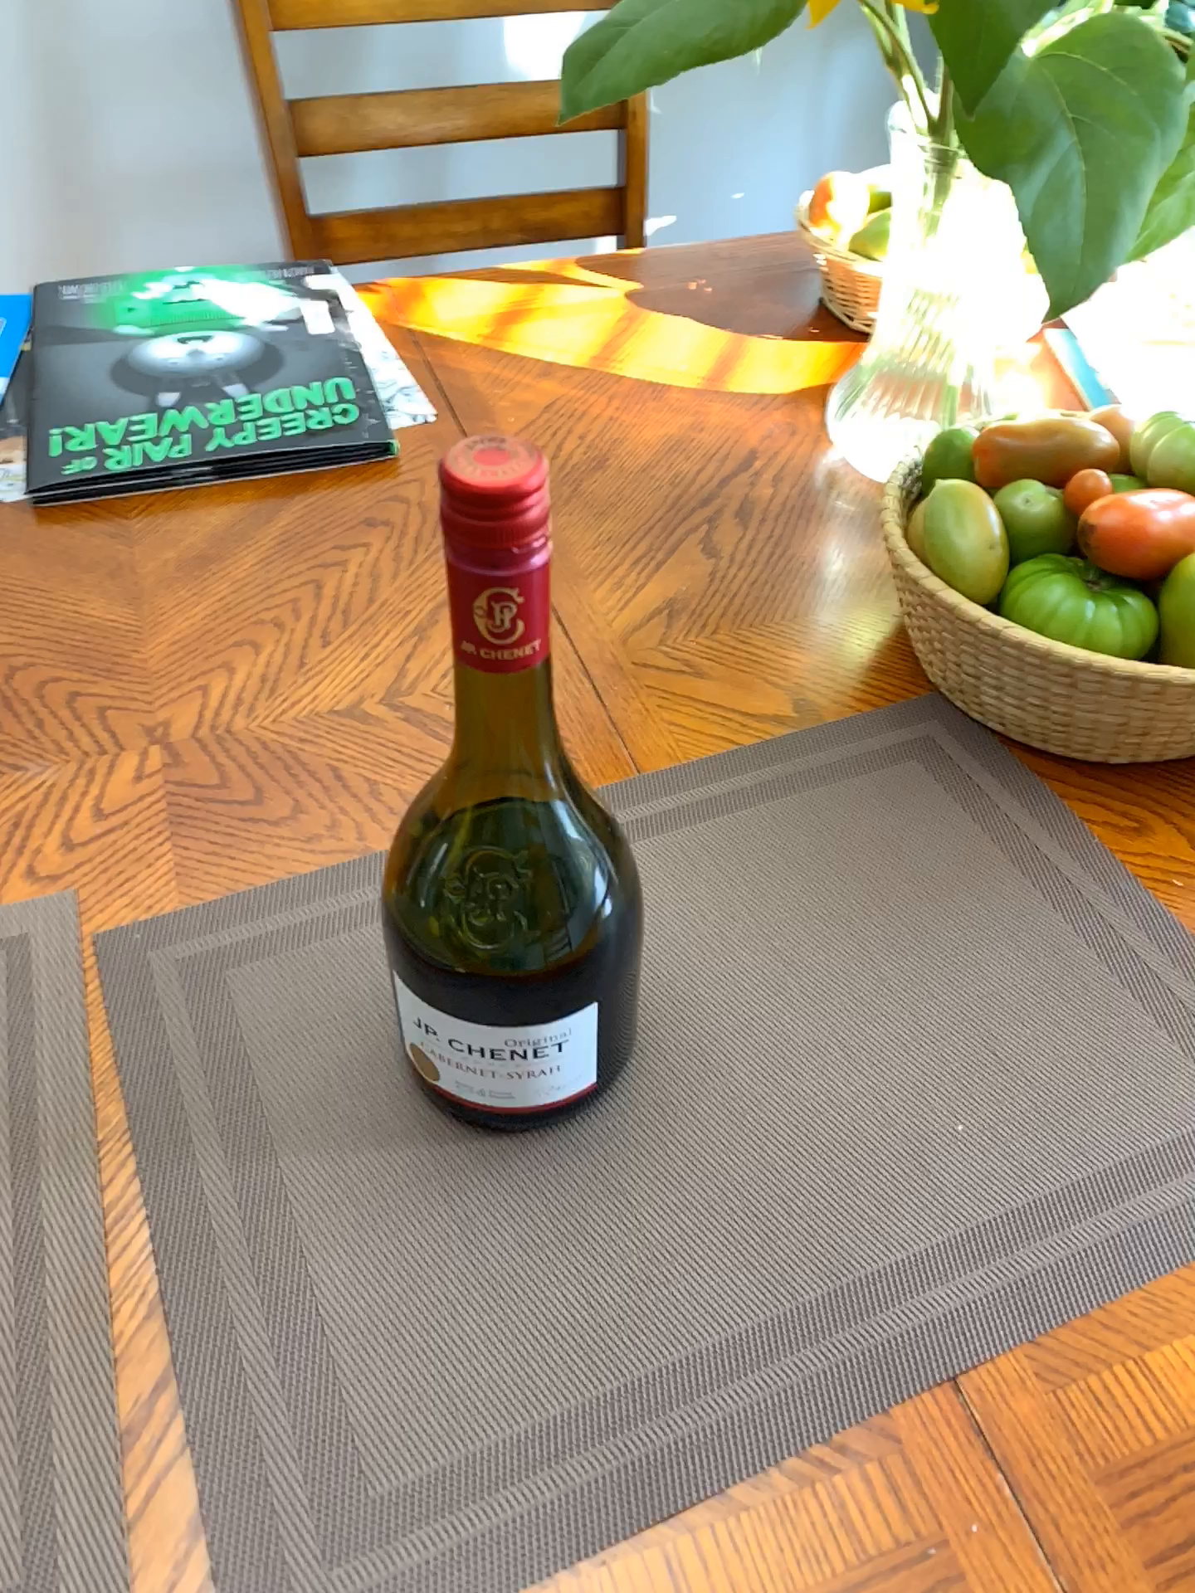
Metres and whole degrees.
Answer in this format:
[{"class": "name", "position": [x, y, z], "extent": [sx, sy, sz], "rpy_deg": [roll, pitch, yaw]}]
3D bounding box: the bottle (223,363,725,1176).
[{"class": "bottle", "position": [-0.032, 0.006, 0.416], "extent": [0.100, 0.258, 0.101], "rpy_deg": [1, 45, -1]}]
